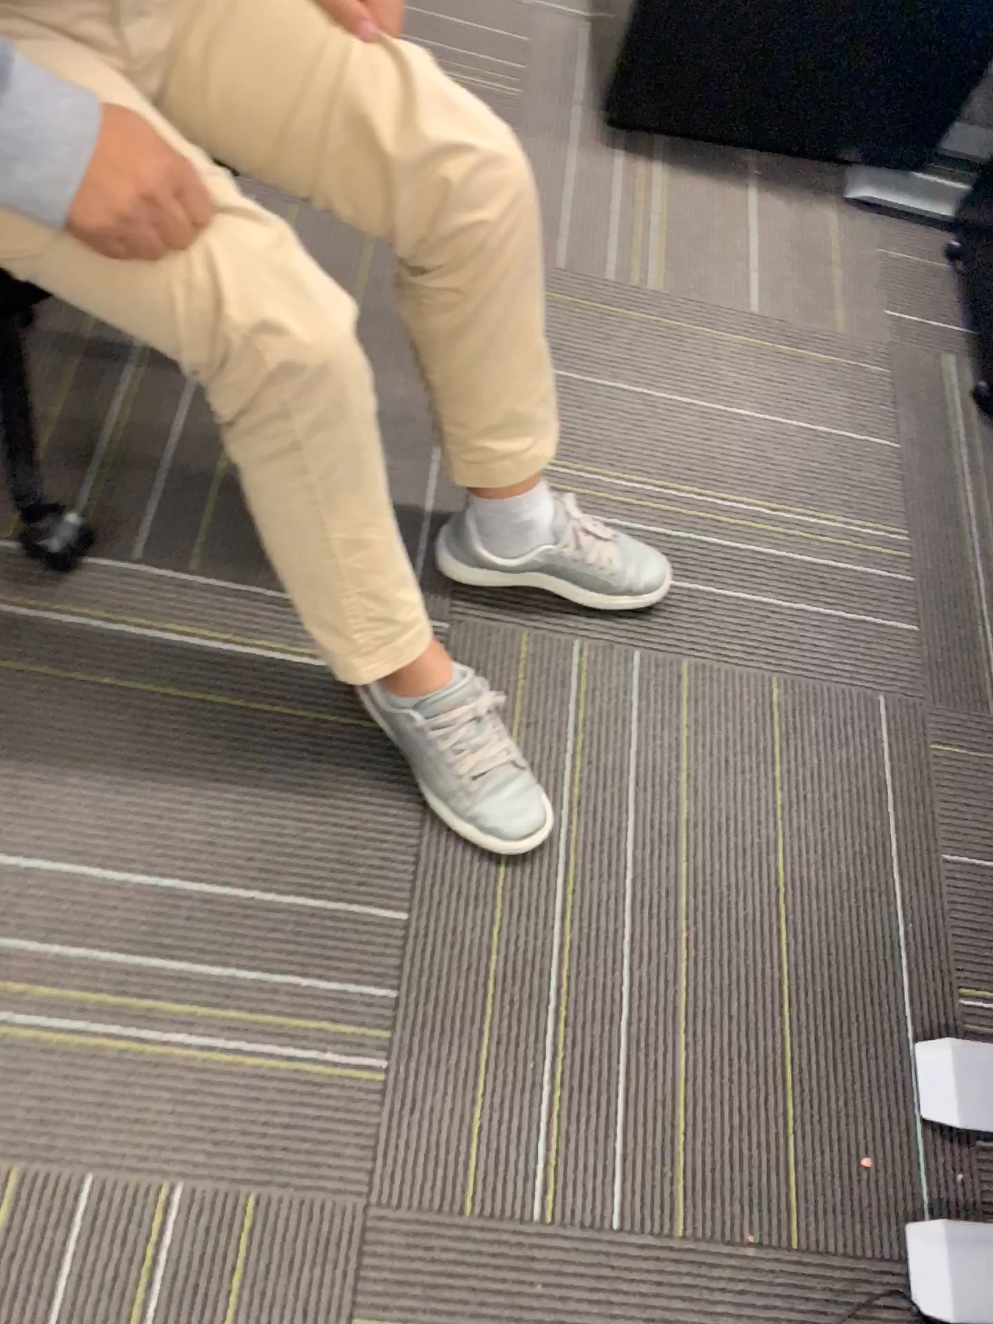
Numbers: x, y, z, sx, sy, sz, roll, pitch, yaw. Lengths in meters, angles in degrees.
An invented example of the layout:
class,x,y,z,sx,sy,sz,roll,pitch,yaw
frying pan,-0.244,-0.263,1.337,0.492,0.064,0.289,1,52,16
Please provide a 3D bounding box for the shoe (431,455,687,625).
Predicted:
class,x,y,z,sx,sy,sz,roll,pitch,yaw
shoe,0.073,-0.142,1.198,0.280,0.110,0.120,8,63,-8

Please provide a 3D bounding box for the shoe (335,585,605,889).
class,x,y,z,sx,sy,sz,roll,pitch,yaw
shoe,-0.037,0.080,1.057,0.120,0.140,0.270,-35,75,-25
